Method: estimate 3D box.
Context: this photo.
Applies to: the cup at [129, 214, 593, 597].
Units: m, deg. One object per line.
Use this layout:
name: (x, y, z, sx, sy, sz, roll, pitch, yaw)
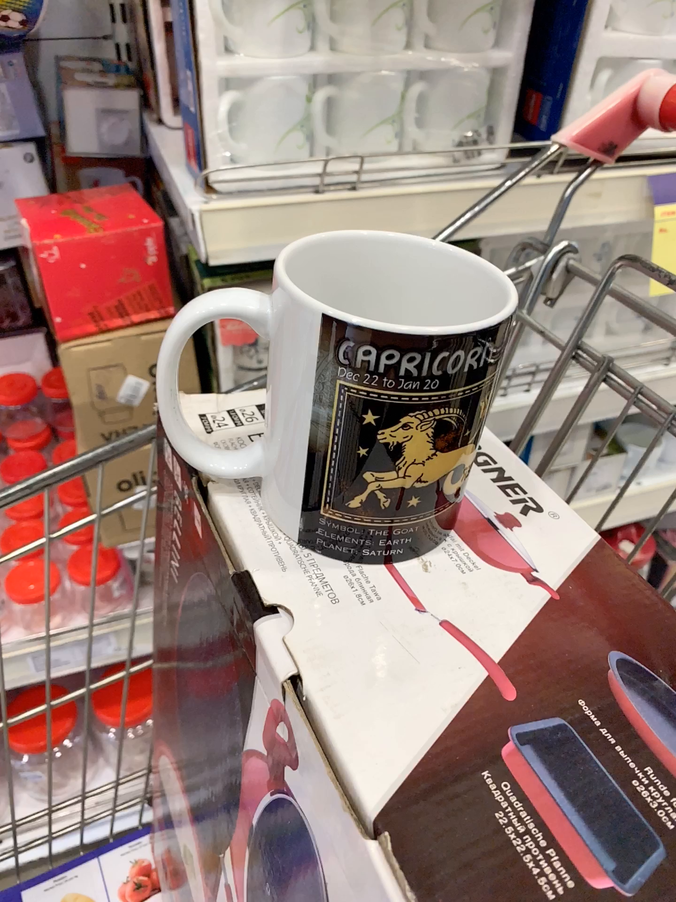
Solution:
cup: (-0.003, -0.018, 0.233, 0.120, 0.090, 0.080, -3, 39, -13)
